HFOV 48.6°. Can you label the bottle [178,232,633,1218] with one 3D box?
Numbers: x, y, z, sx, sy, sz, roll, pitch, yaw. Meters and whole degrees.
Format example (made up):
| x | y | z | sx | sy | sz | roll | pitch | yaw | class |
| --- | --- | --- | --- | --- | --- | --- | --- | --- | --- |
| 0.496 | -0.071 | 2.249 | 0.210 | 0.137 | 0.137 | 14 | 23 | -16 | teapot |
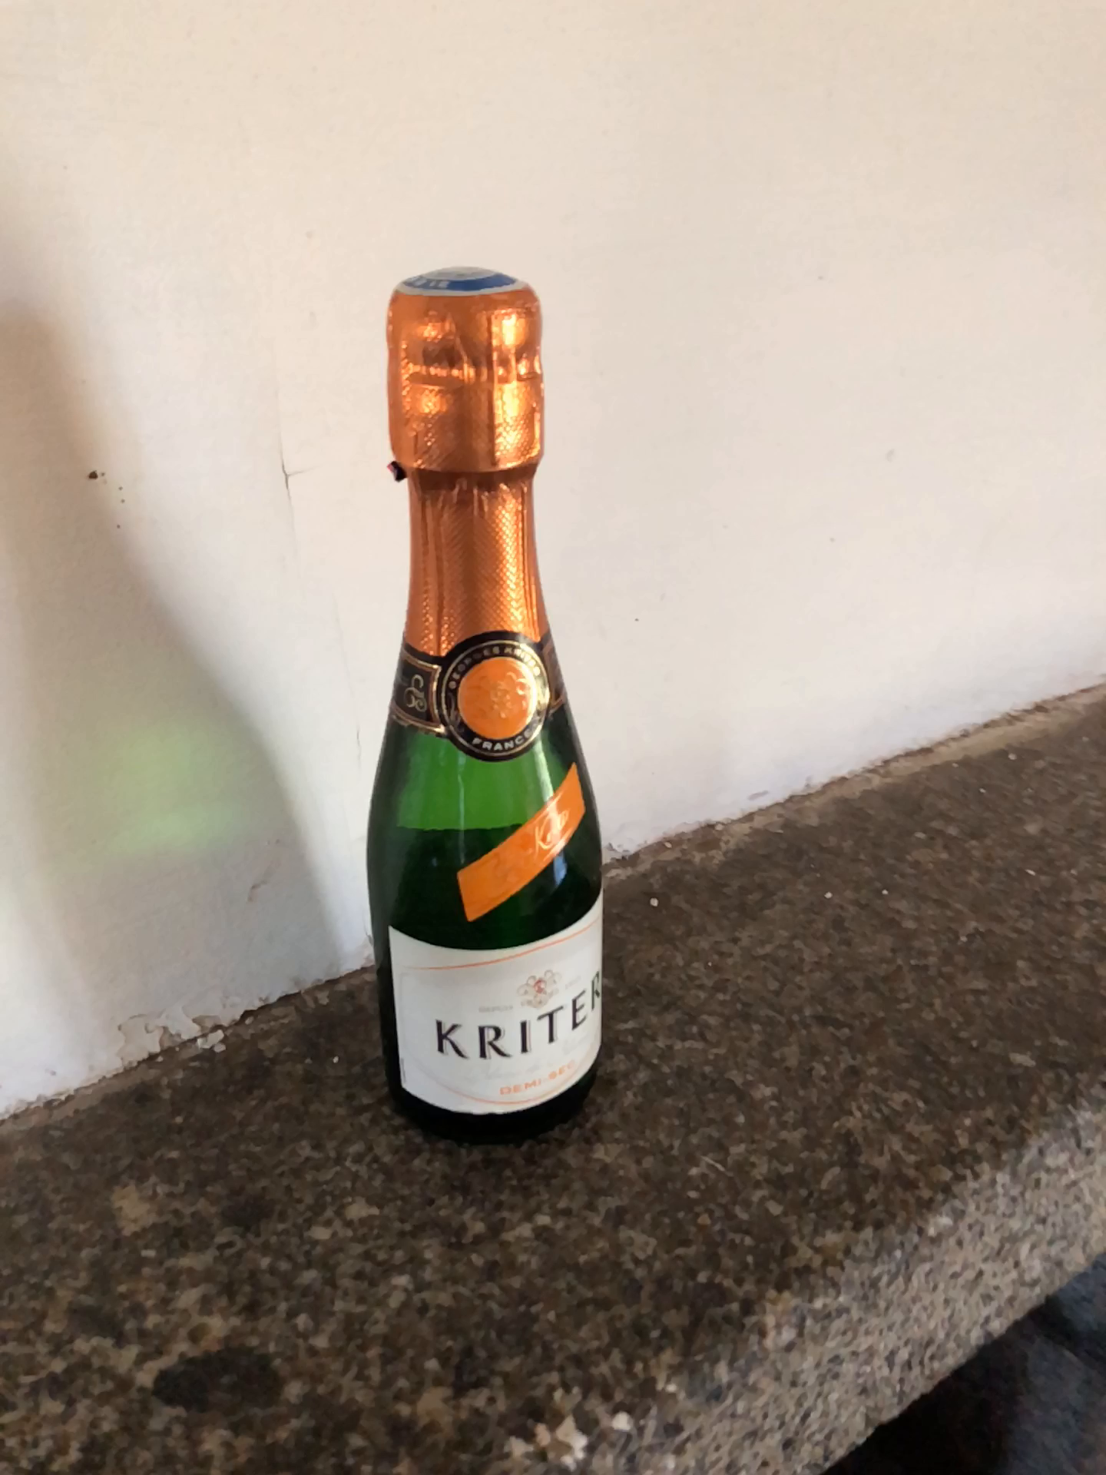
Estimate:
| x | y | z | sx | sy | sz | roll | pitch | yaw | class |
| --- | --- | --- | --- | --- | --- | --- | --- | --- | --- |
| -0.027 | -0.001 | 0.273 | 0.060 | 0.199 | 0.070 | -17 | 31 | -27 | bottle |
